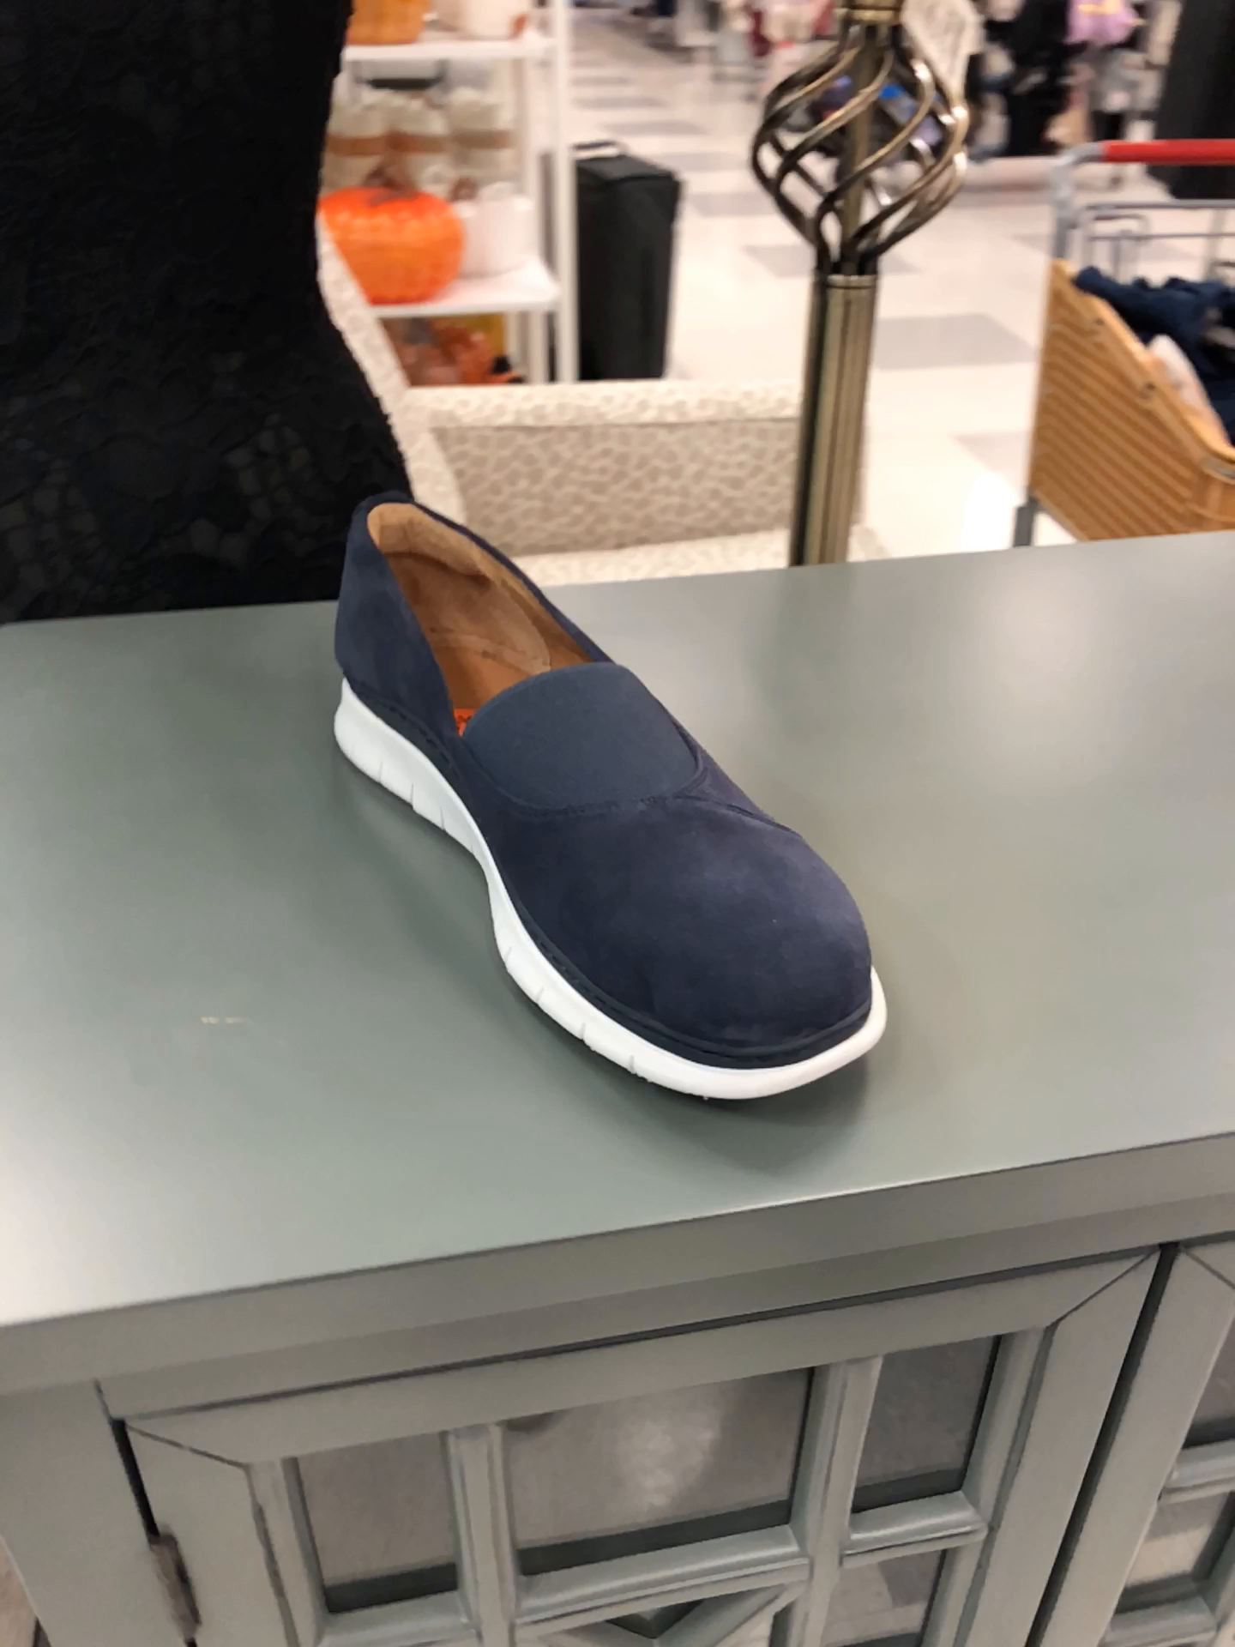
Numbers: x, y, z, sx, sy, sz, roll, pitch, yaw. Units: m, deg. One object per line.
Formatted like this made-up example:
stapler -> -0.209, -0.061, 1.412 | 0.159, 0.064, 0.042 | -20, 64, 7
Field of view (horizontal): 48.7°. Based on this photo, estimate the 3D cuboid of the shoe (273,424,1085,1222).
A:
shoe -> -0.005, -0.027, 0.422 | 0.110, 0.102, 0.271 | -17, 37, -24
